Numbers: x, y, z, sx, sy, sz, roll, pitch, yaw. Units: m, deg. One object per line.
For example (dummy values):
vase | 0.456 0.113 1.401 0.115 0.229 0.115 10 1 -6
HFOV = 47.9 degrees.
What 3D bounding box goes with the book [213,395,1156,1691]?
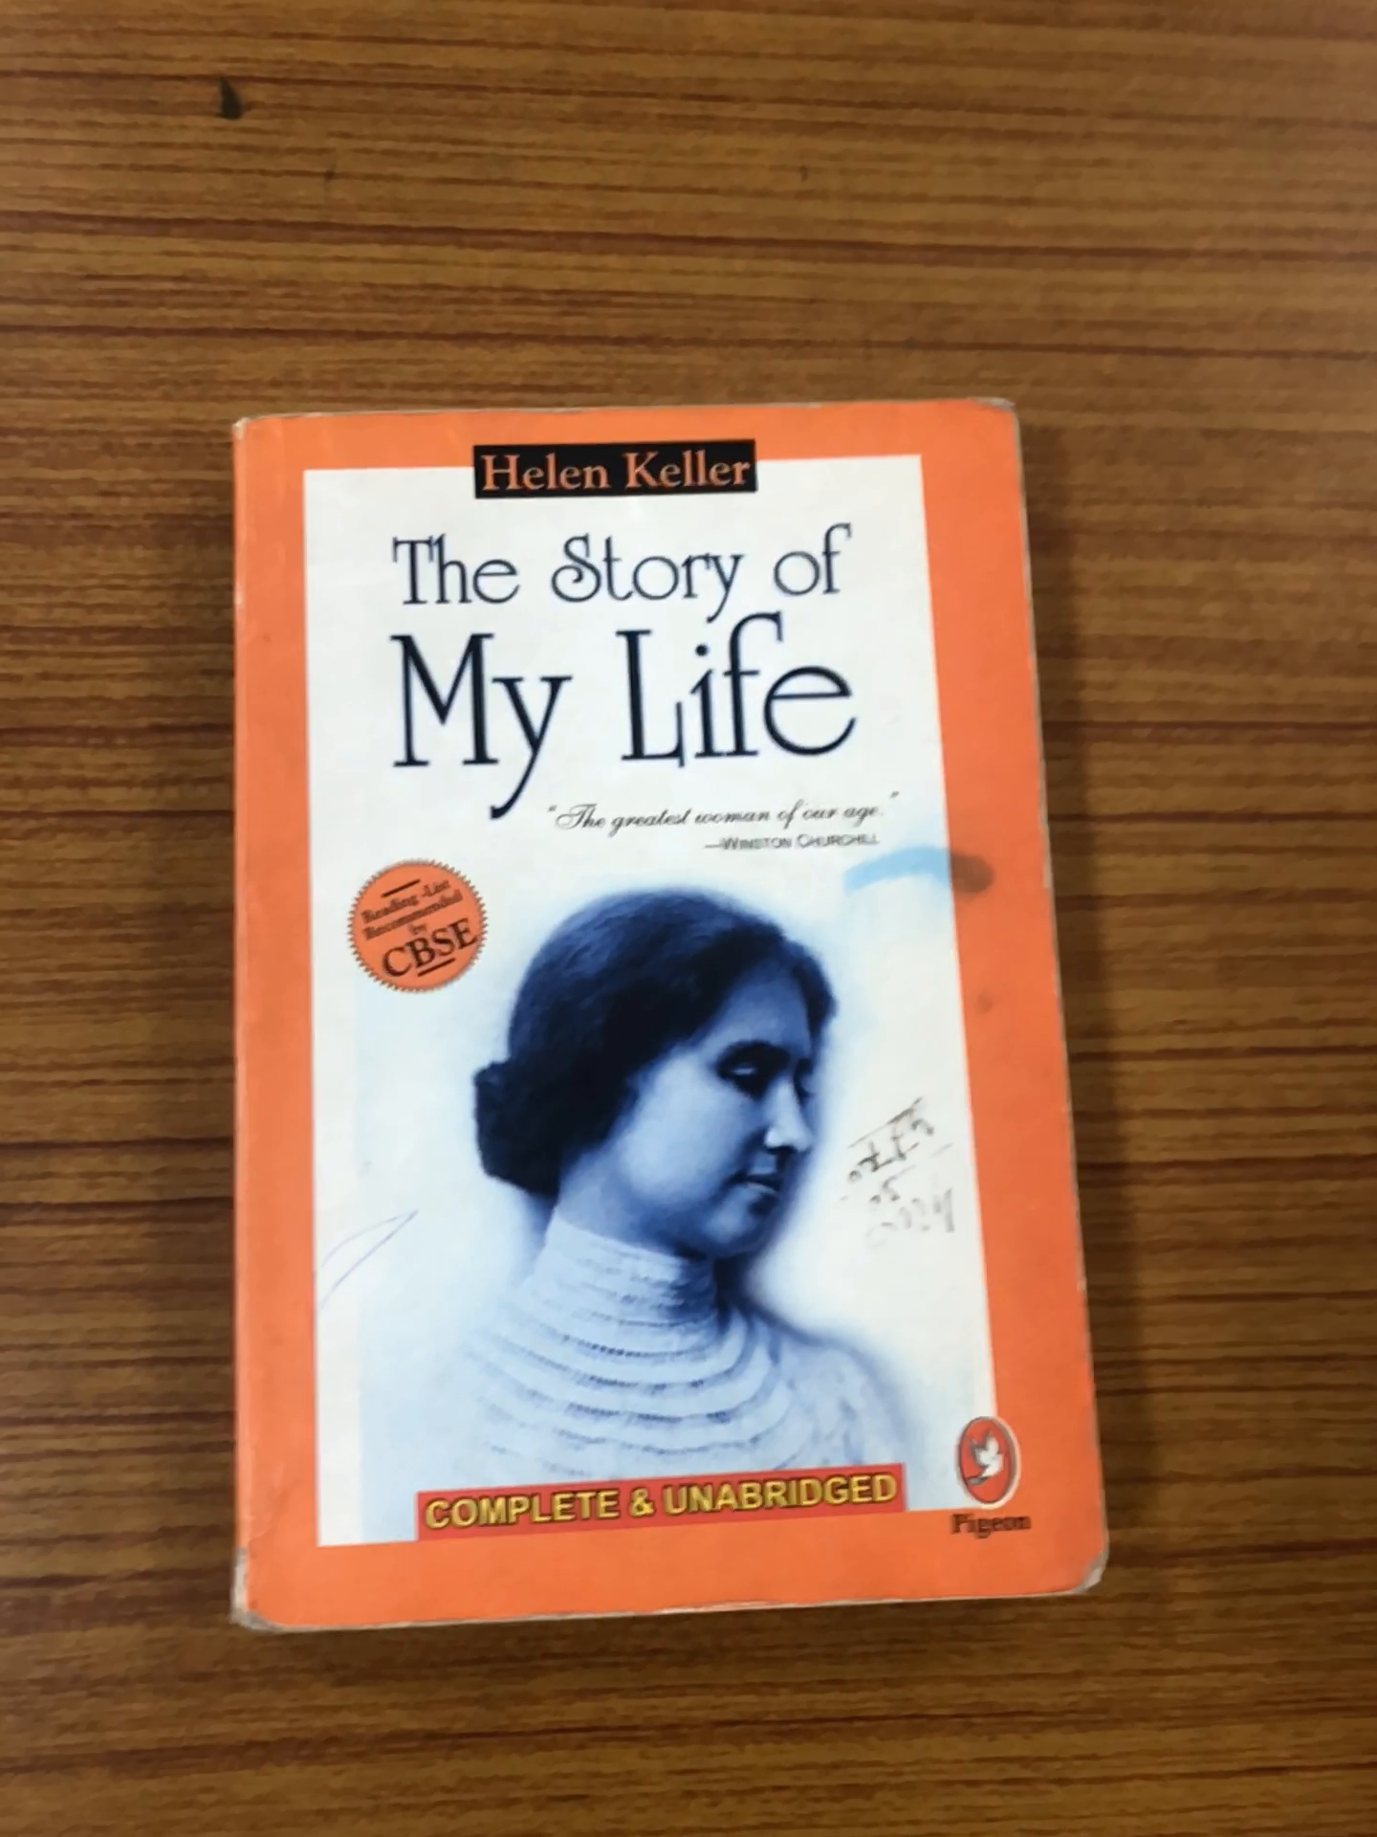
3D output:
book | -0.004 0.012 0.224 0.120 0.030 0.170 -2 82 -4
